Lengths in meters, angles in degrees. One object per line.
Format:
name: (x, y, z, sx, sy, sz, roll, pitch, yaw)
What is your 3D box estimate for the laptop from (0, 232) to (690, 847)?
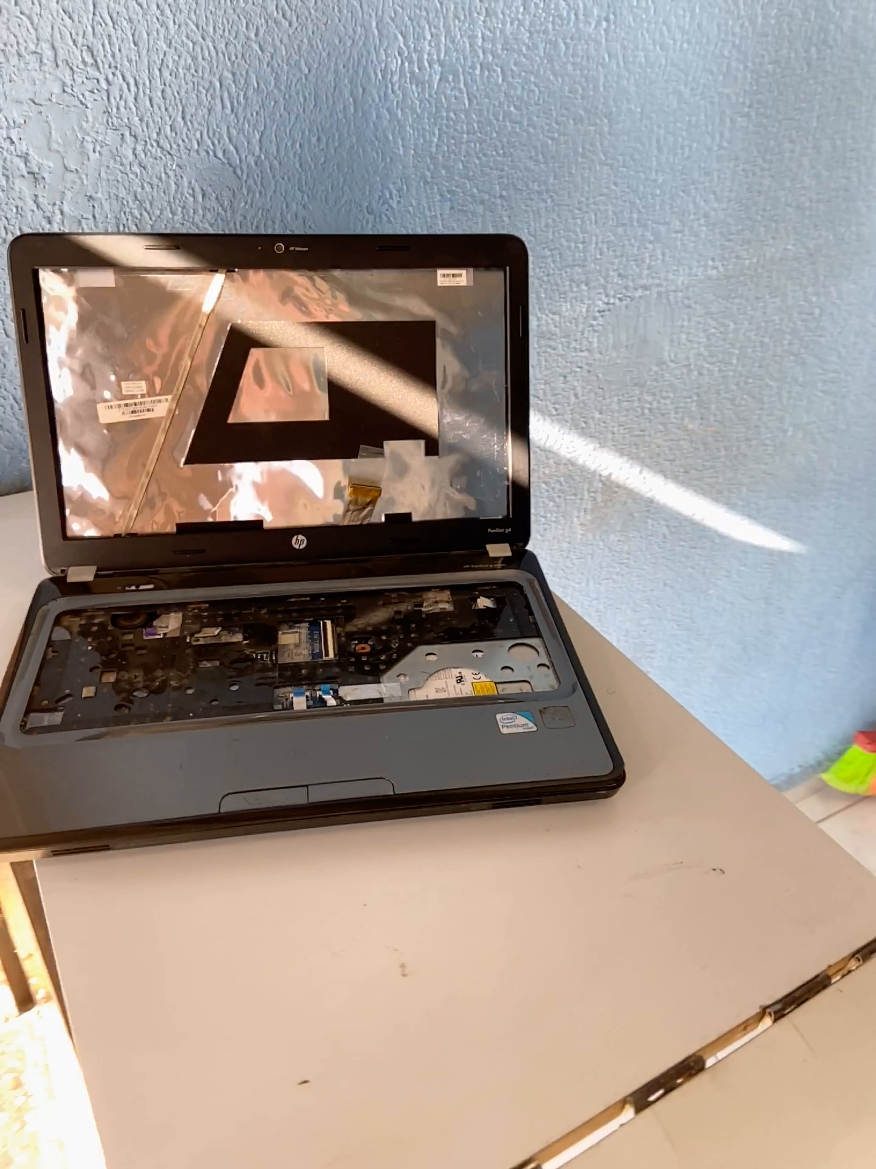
laptop: (-0.086, -0.061, 0.530, 0.335, 0.194, 0.325, -4, 35, -7)
